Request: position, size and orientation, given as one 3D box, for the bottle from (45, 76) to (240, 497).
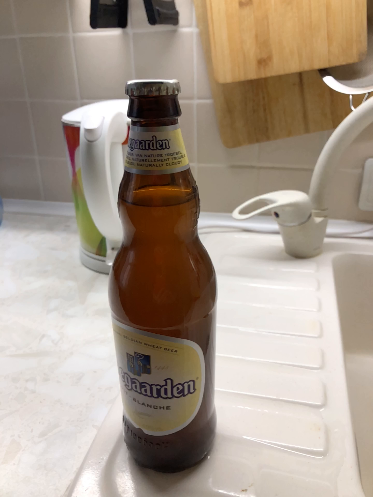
[{"bbox_3d":[-0.017,0.026,0.241,0.070,0.231,0.060,13,27,30],"label":"bottle"}]
